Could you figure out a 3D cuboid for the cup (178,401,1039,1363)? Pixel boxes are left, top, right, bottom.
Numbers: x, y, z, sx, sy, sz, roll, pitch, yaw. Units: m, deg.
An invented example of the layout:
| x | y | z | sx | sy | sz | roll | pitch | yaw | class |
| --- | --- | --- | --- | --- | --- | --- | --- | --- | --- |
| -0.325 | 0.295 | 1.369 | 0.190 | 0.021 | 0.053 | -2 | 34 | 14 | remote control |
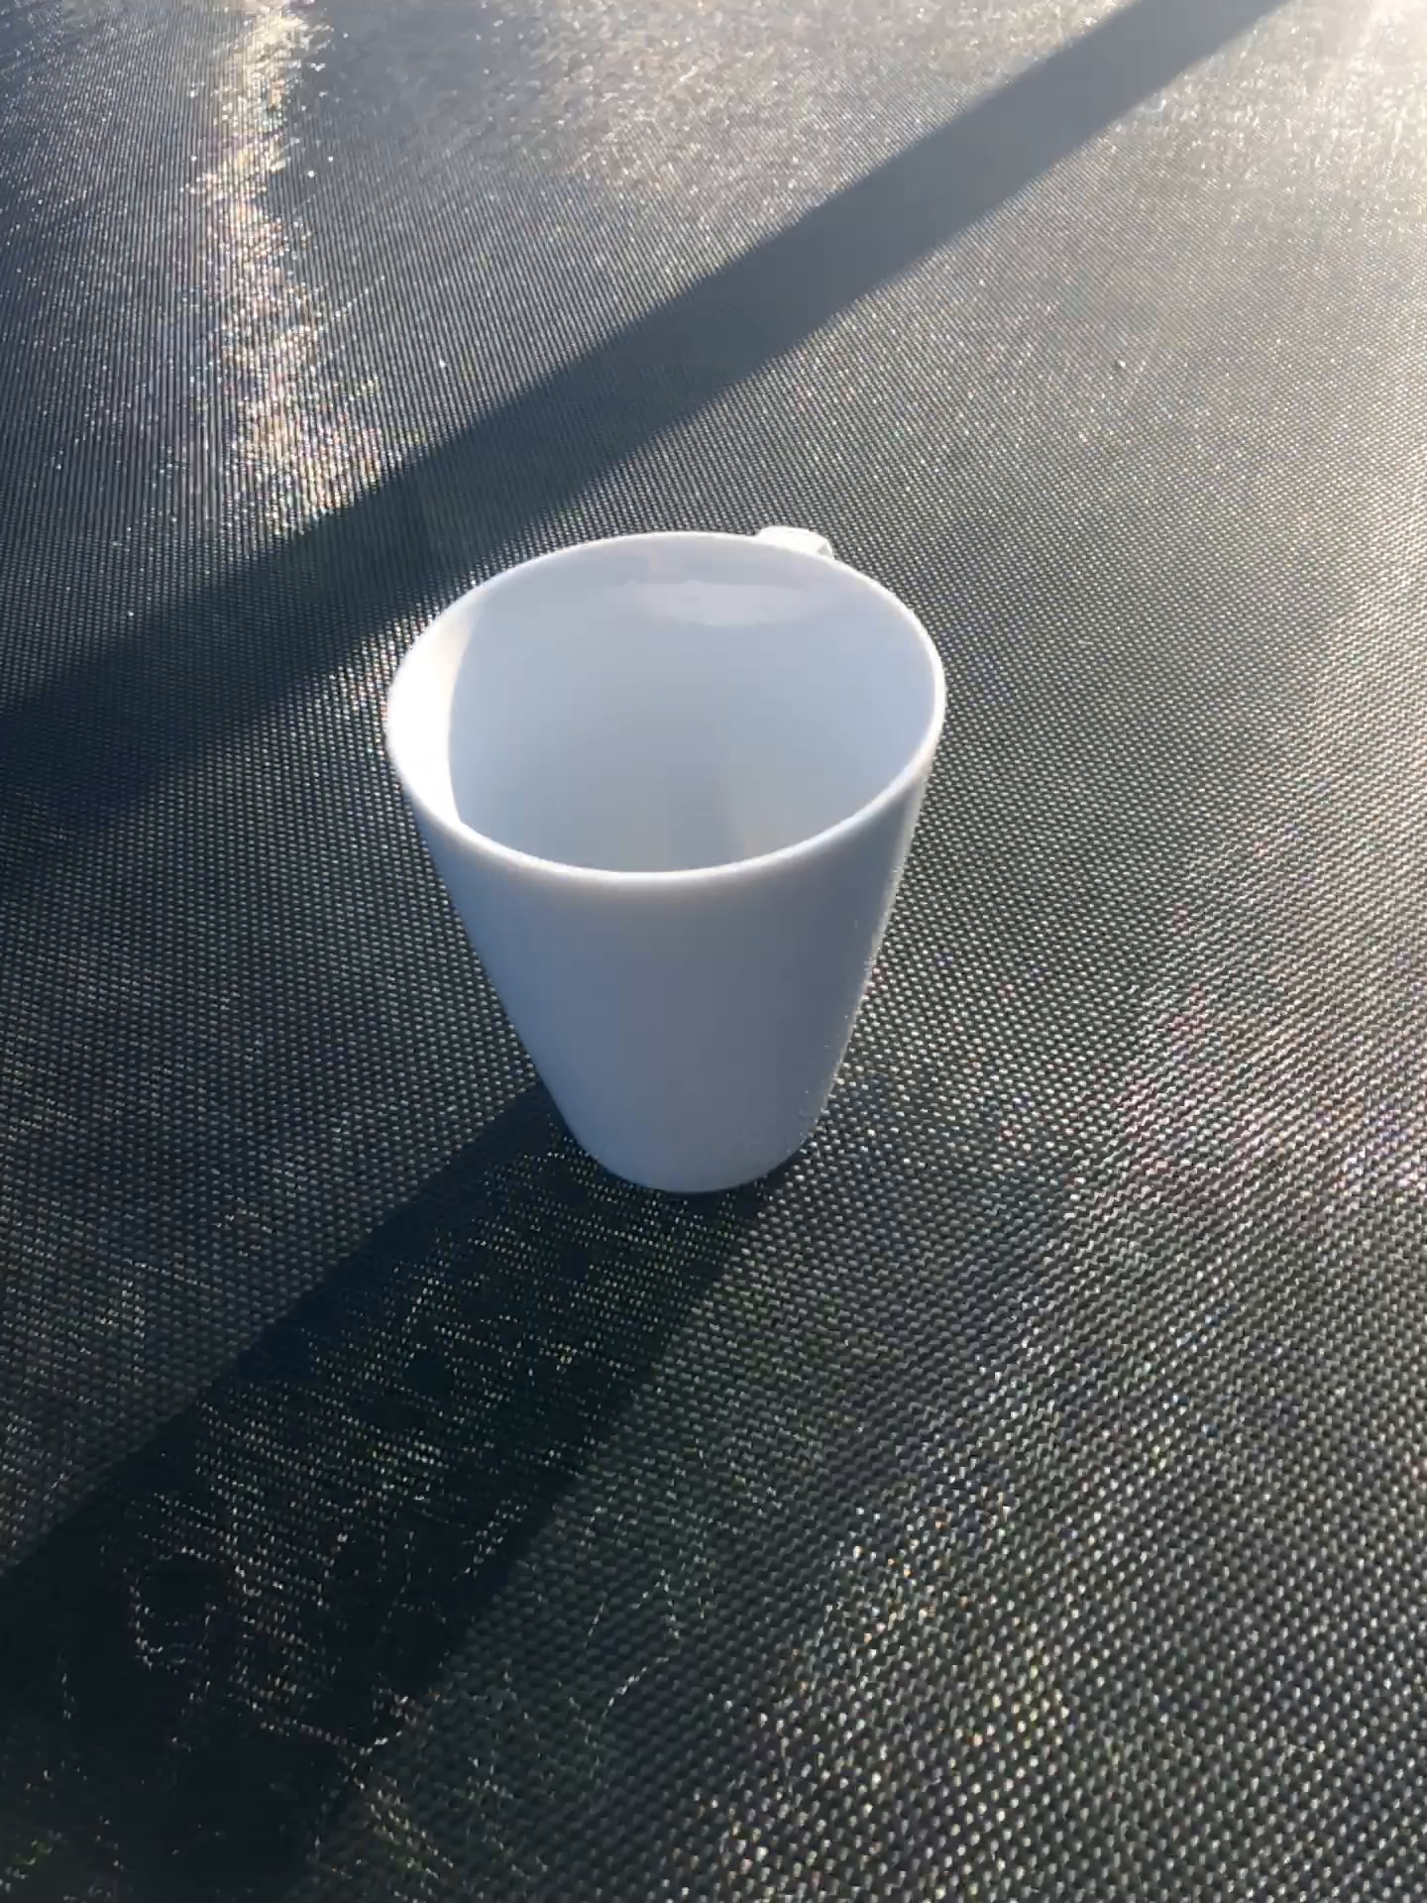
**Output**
| x | y | z | sx | sy | sz | roll | pitch | yaw | class |
| --- | --- | --- | --- | --- | --- | --- | --- | --- | --- |
| -0.006 | -0.018 | 0.283 | 0.097 | 0.094 | 0.130 | 11 | 50 | 15 | cup |
